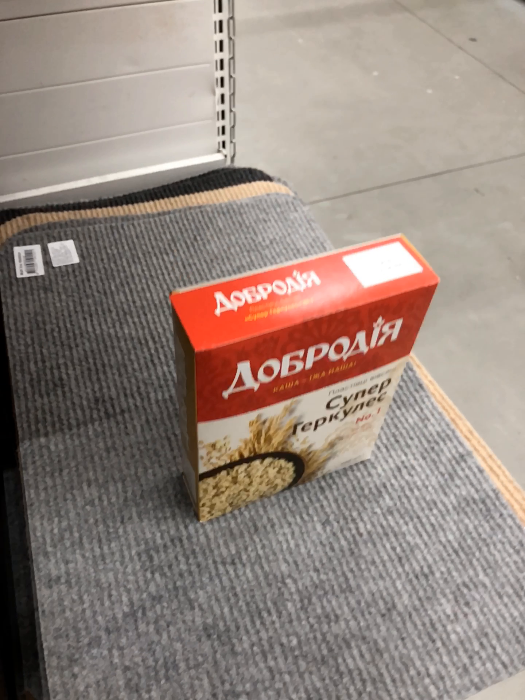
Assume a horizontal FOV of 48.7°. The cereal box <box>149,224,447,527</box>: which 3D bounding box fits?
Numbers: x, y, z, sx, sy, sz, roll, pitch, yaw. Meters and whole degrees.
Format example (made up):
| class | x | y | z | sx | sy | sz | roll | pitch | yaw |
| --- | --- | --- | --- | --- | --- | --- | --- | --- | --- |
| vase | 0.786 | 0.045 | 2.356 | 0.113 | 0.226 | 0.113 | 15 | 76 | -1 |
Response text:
| class | x | y | z | sx | sy | sz | roll | pitch | yaw |
| --- | --- | --- | --- | --- | --- | --- | --- | --- | --- |
| cereal box | 0.019 | 0.031 | 0.452 | 0.180 | 0.228 | 0.060 | -16 | 52 | -17 |
